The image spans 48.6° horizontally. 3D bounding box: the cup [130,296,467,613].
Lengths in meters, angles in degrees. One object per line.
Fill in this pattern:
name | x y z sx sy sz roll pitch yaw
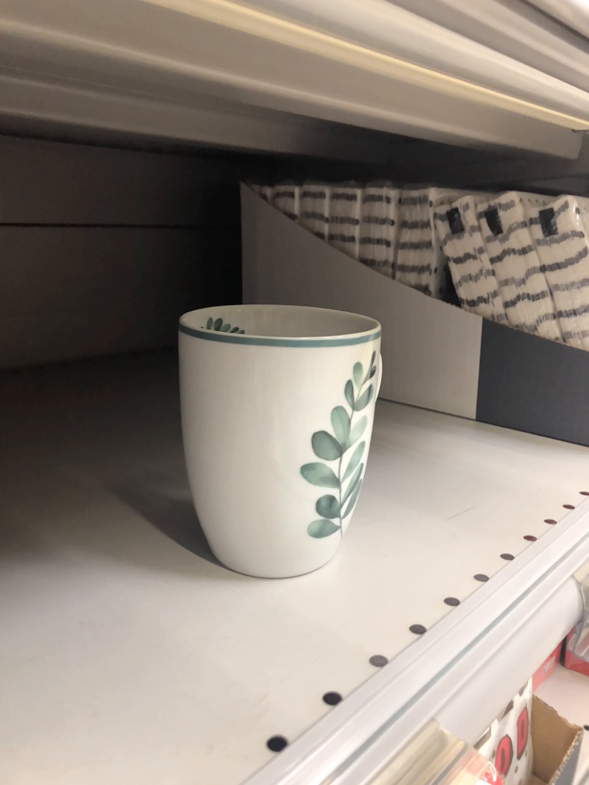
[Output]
cup | 0.003 0.013 0.283 0.082 0.093 0.117 16 20 42
